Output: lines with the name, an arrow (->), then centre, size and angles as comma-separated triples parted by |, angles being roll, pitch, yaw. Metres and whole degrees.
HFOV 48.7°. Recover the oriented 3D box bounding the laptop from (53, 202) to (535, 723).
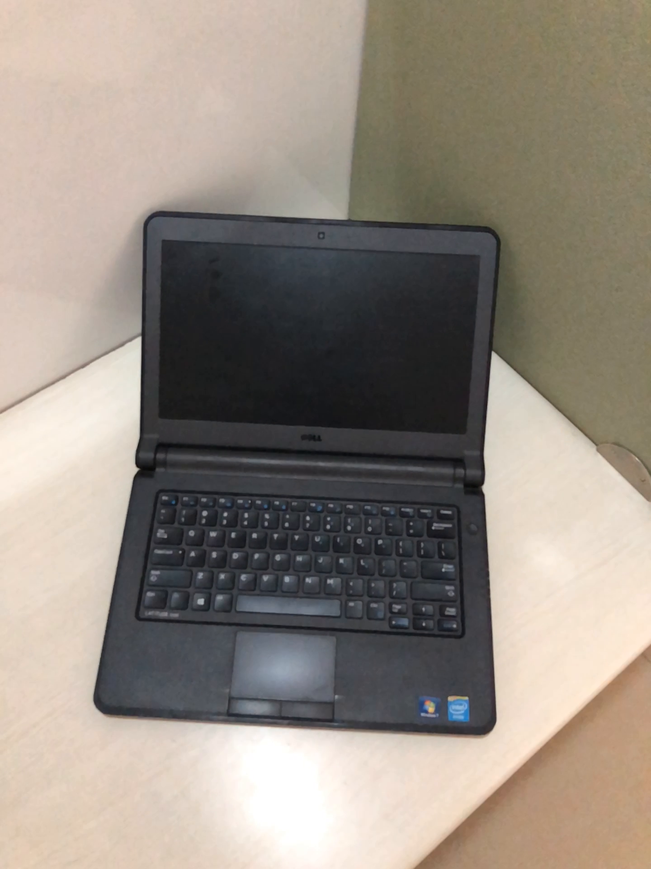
laptop -> -0.012, 0.010, 0.602 | 0.309, 0.128, 0.396 | 3, 63, 2
